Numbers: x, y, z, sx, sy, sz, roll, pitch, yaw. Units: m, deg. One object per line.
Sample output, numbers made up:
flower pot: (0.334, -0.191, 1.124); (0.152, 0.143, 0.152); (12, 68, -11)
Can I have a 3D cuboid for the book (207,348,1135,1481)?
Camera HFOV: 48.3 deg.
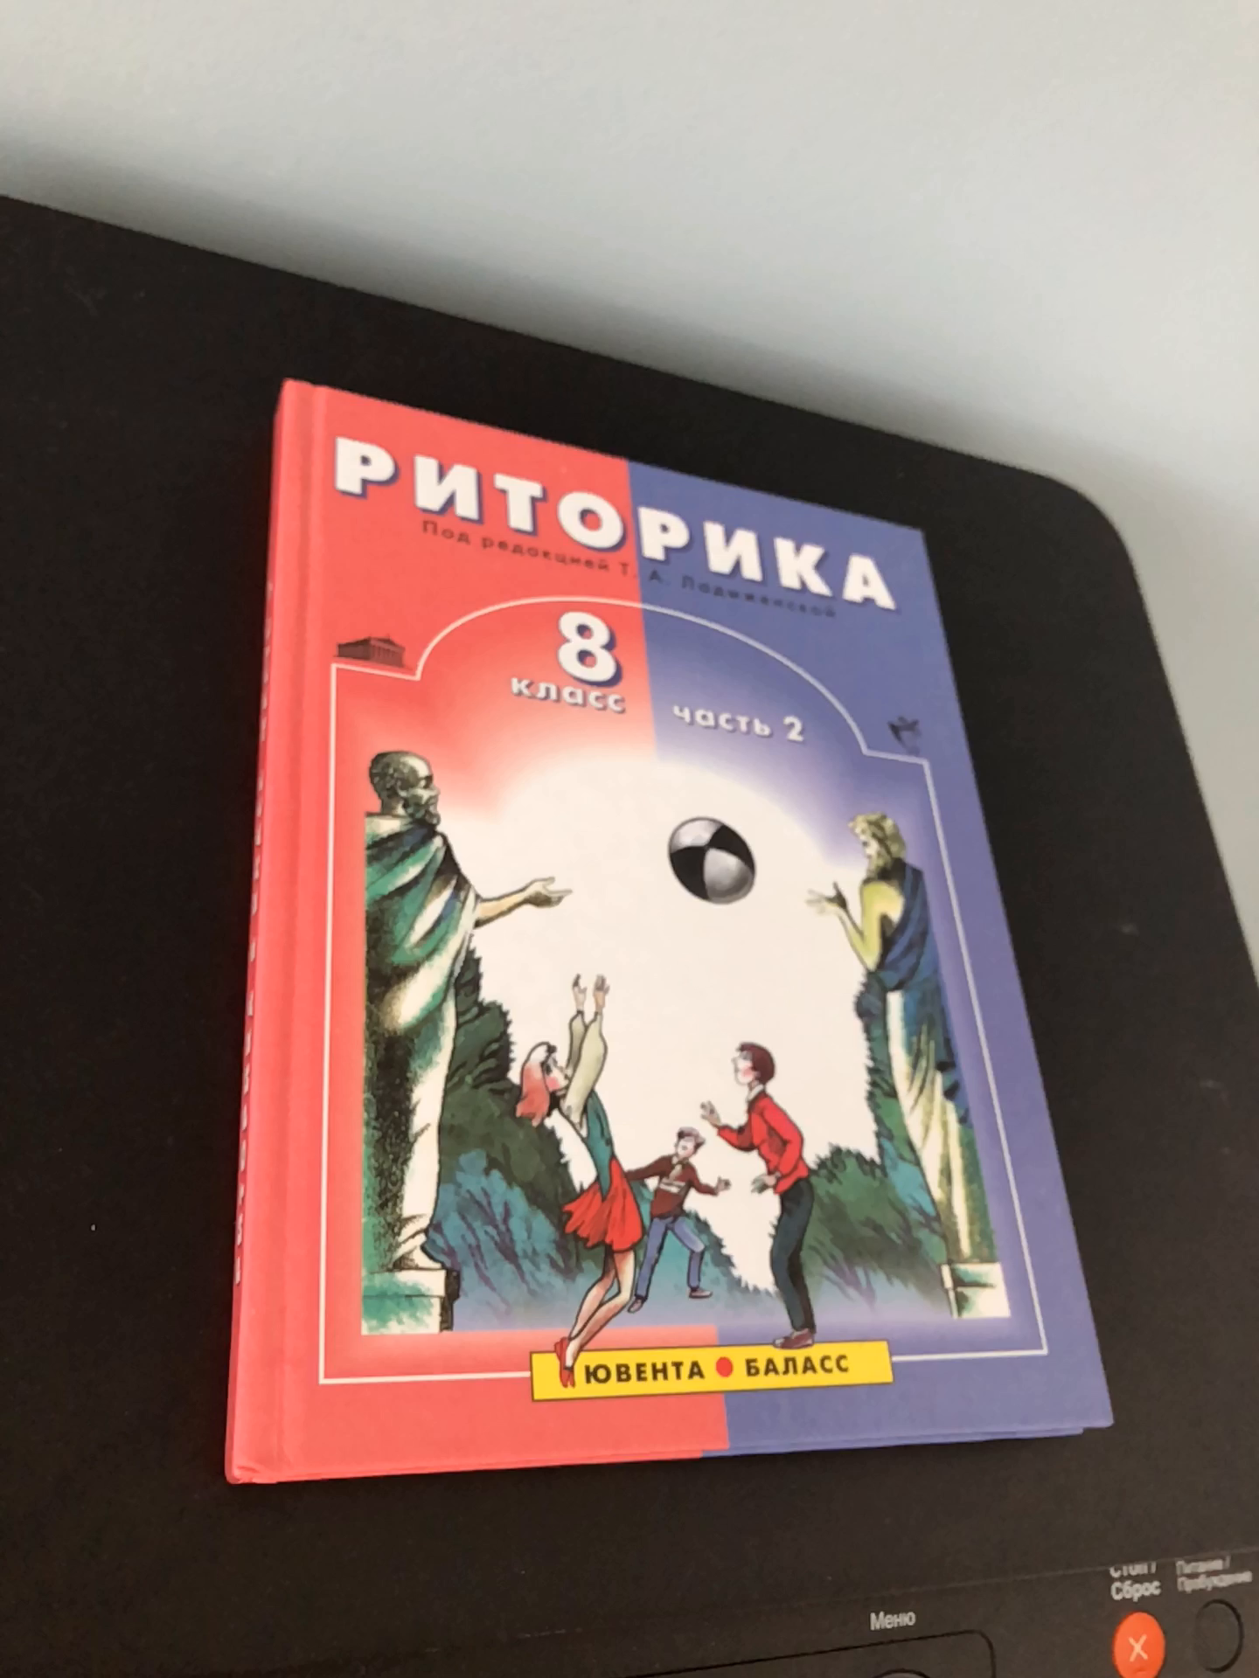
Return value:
book: (0.007, 0.007, 0.294); (0.170, 0.020, 0.221); (7, 61, -23)
